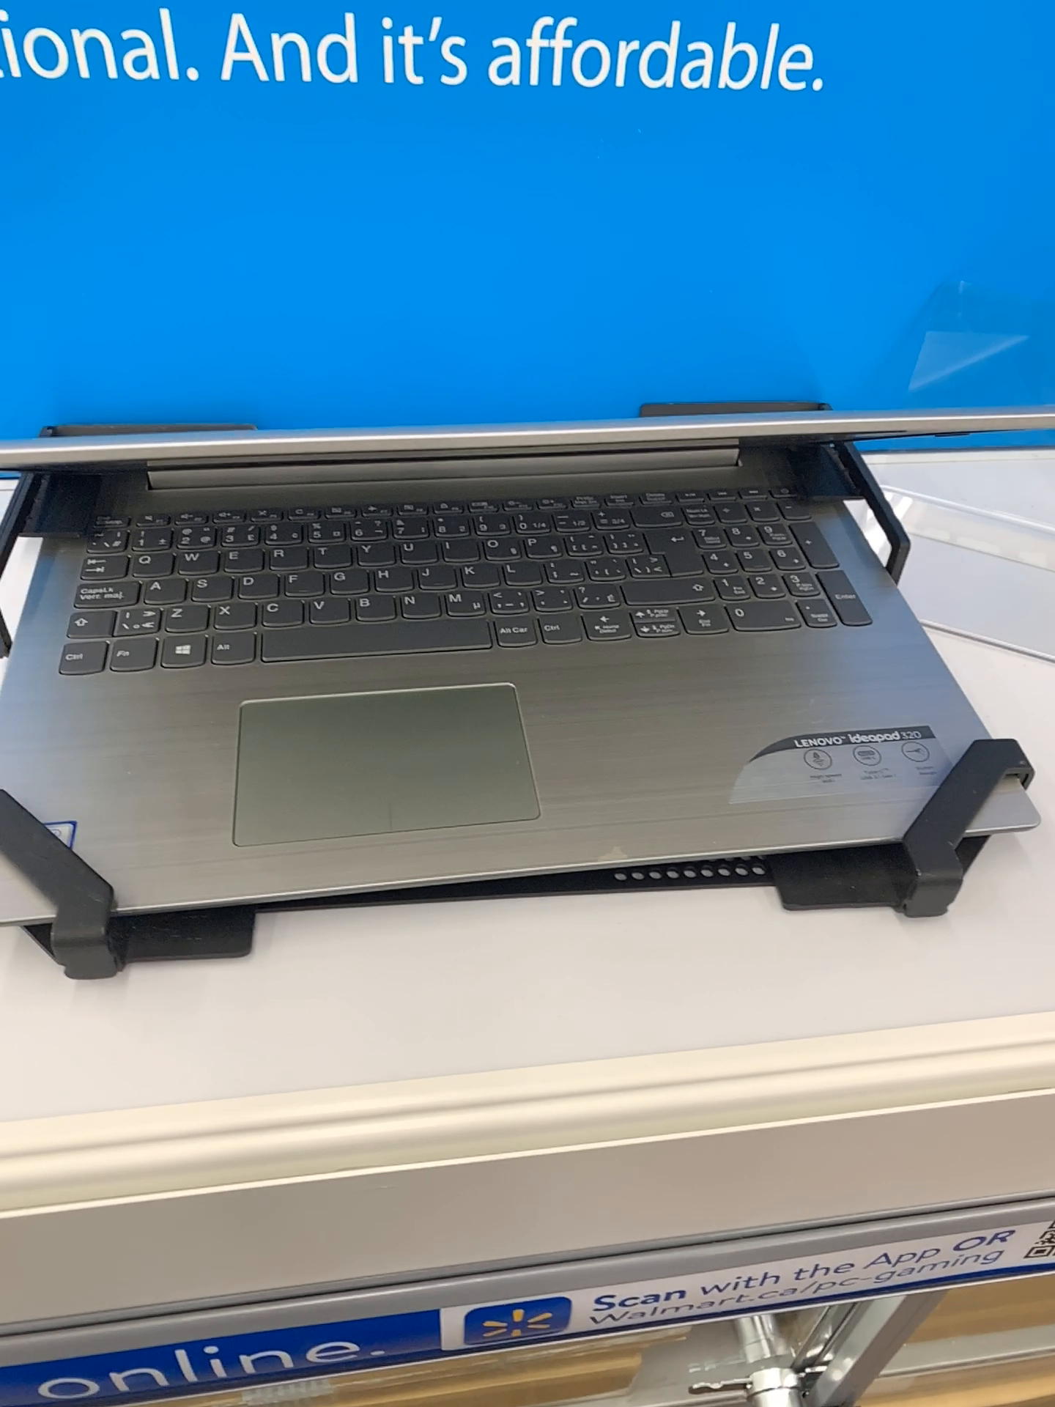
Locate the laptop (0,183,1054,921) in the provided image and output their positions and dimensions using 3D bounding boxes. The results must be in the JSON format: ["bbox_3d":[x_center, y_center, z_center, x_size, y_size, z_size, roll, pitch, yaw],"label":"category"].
[{"bbox_3d":[-0.013,-0.070,0.356,0.324,0.110,0.220,-4,45,-9],"label":"laptop"}]
